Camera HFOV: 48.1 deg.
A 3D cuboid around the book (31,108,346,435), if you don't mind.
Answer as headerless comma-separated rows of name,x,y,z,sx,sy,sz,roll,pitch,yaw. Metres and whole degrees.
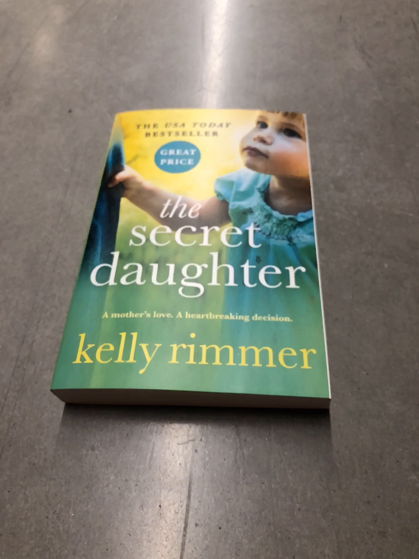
book,-0.005,-0.022,0.278,0.140,0.030,0.211,1,56,4
